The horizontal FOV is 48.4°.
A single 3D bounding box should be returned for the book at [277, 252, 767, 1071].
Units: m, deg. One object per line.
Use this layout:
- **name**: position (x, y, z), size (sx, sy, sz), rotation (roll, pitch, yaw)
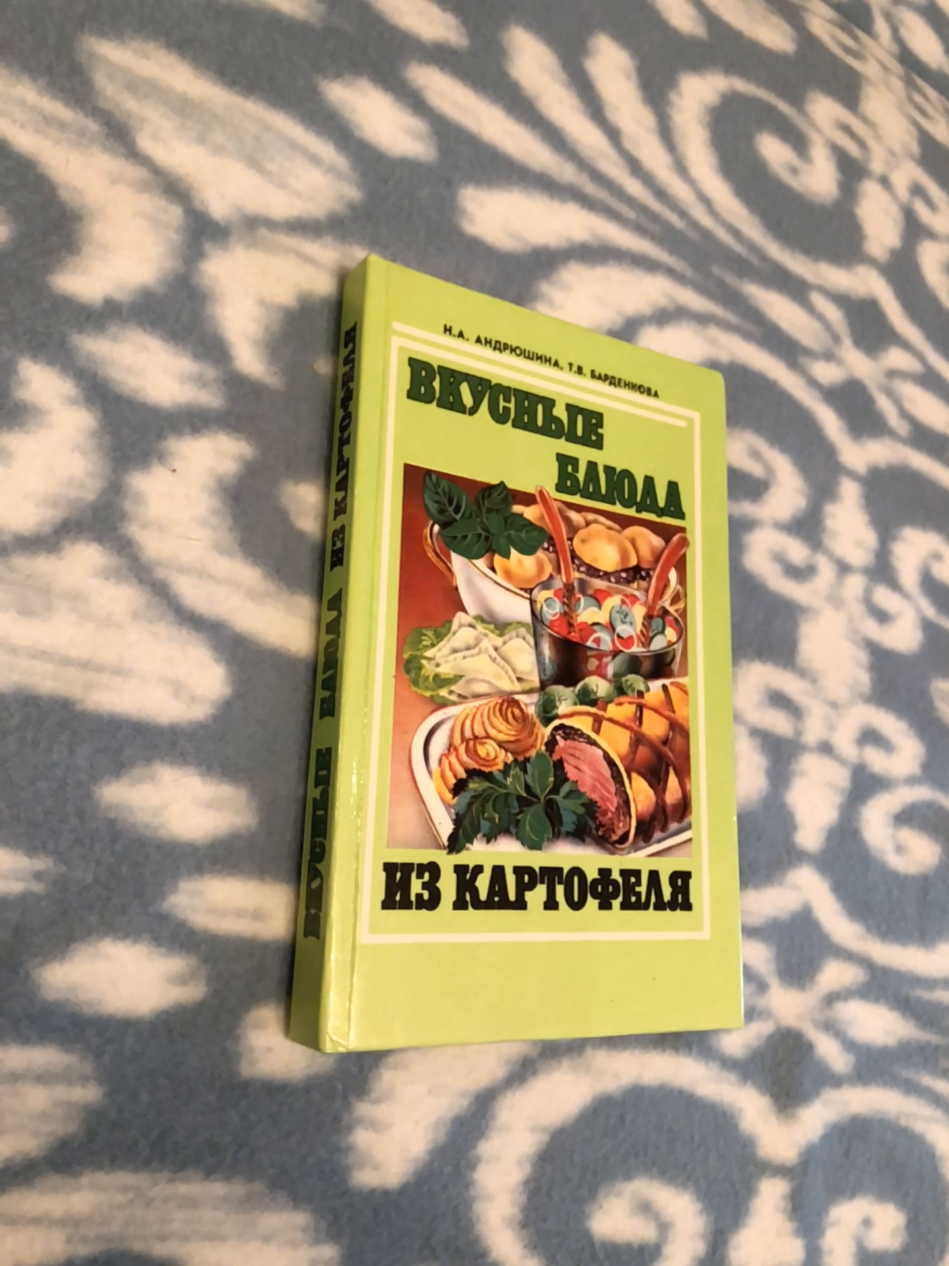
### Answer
- **book**: position (0.021, 0.010, 0.298), size (0.136, 0.025, 0.201), rotation (9, 76, -29)
